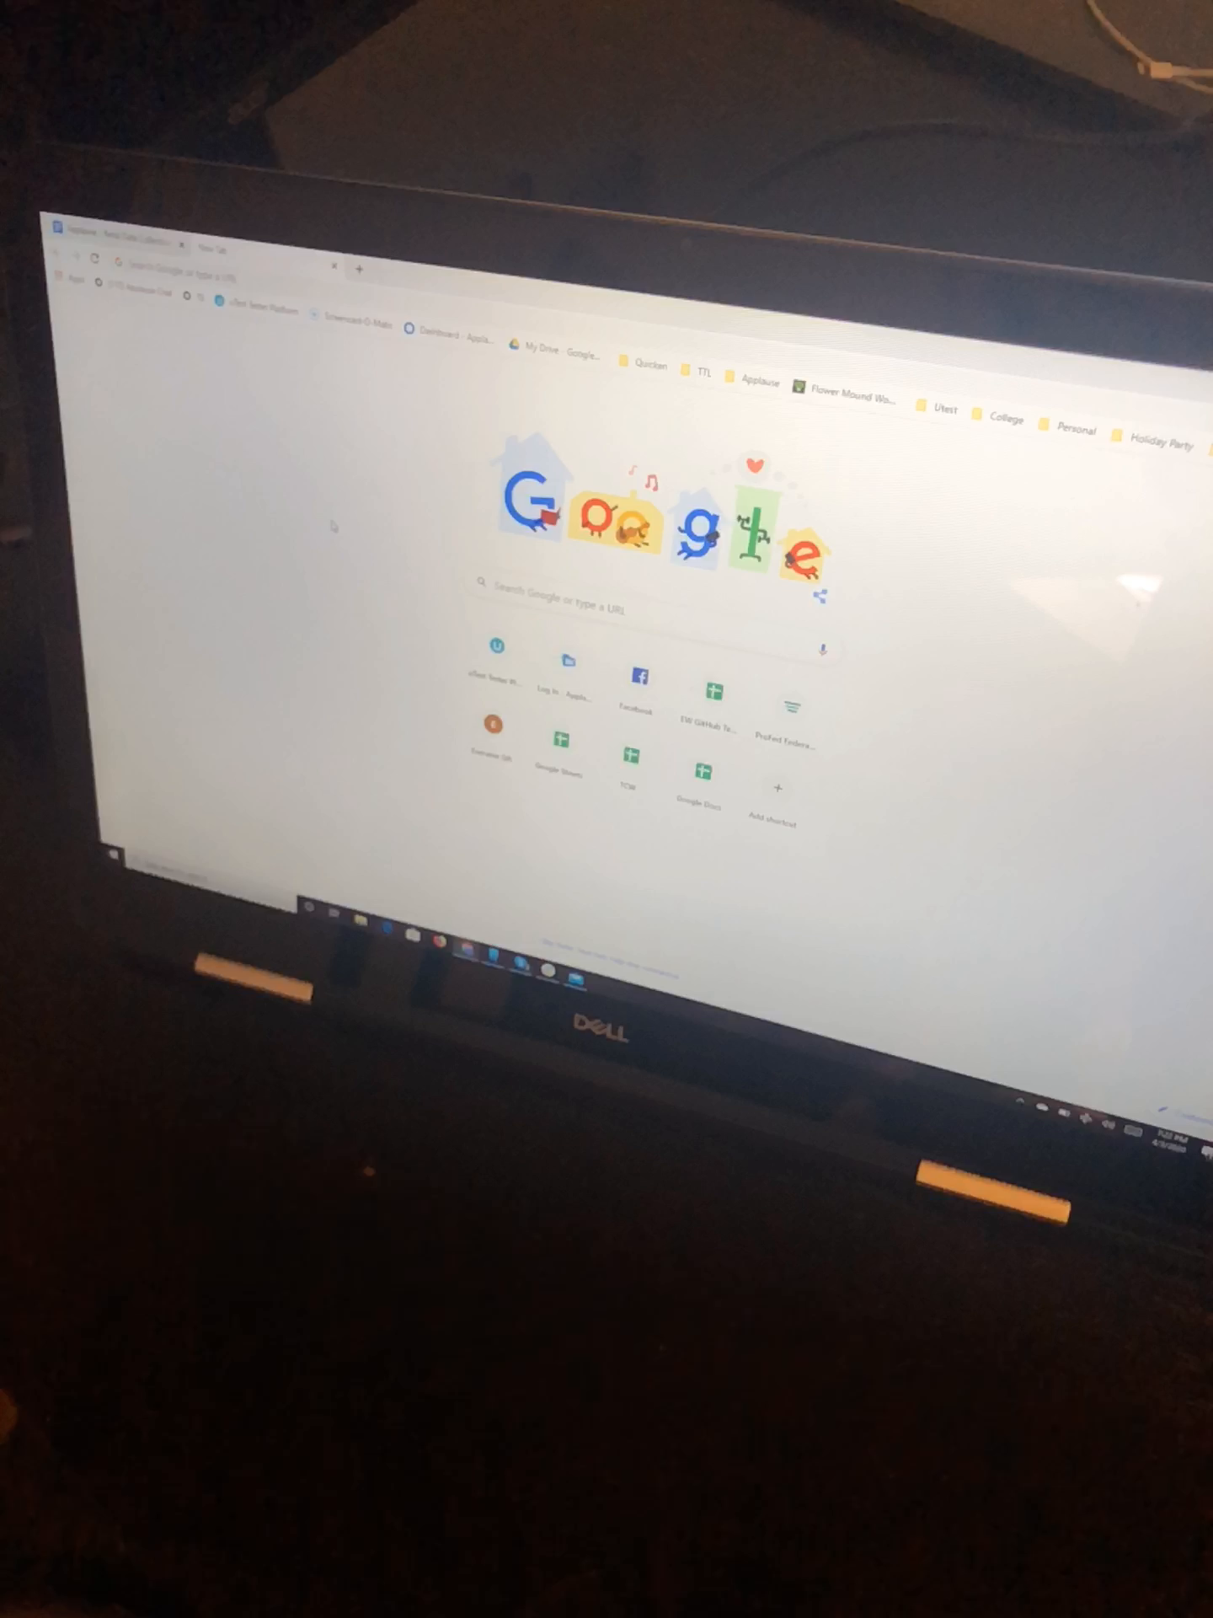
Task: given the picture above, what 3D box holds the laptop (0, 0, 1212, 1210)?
[{"bbox_3d":[0.032,-0.091,0.432,0.419,0.232,0.268,14,62,15],"label":"laptop"}]
